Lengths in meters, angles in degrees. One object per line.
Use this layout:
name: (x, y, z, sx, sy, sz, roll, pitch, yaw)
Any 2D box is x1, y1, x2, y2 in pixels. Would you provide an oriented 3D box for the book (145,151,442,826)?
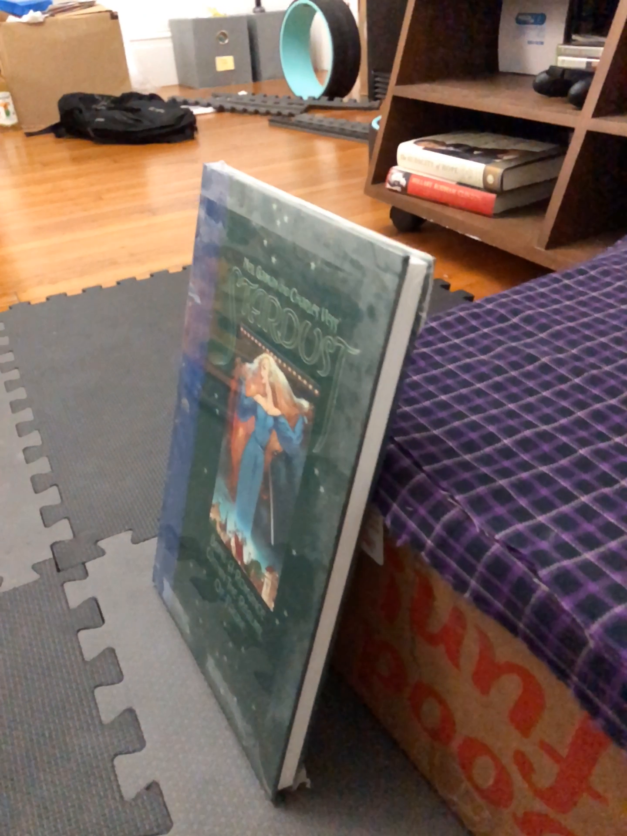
book: (-0.041, 0.032, 0.405, 0.020, 0.328, 0.211, -3, 27, -32)
